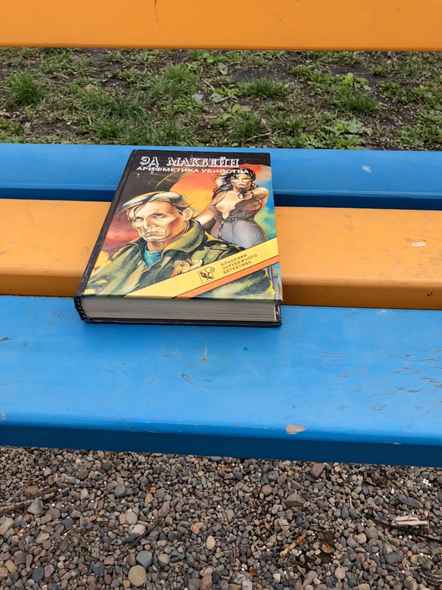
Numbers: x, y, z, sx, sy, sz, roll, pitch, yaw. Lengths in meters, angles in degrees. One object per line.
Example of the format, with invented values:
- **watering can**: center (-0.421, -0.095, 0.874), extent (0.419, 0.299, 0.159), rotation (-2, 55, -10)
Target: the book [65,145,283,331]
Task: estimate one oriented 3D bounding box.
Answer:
- **book**: center (-0.026, -0.059, 0.391), extent (0.135, 0.030, 0.211), rotation (1, 42, 1)
